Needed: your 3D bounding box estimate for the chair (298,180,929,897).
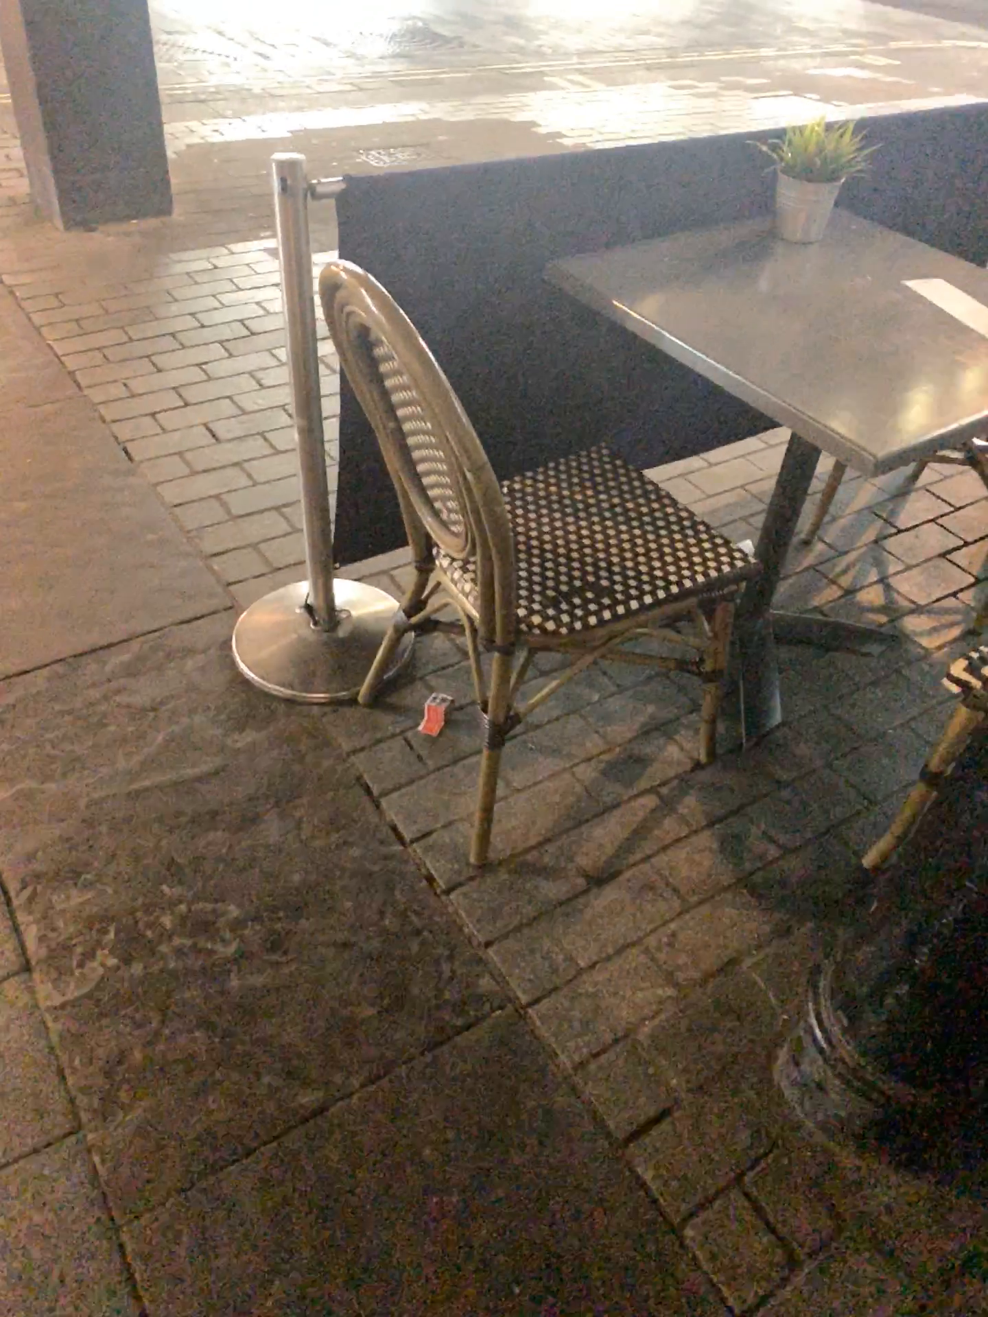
[{"bbox_3d":[0.111,-0.191,1.503,0.602,0.792,0.514,-20,48,-27],"label":"chair"}]
